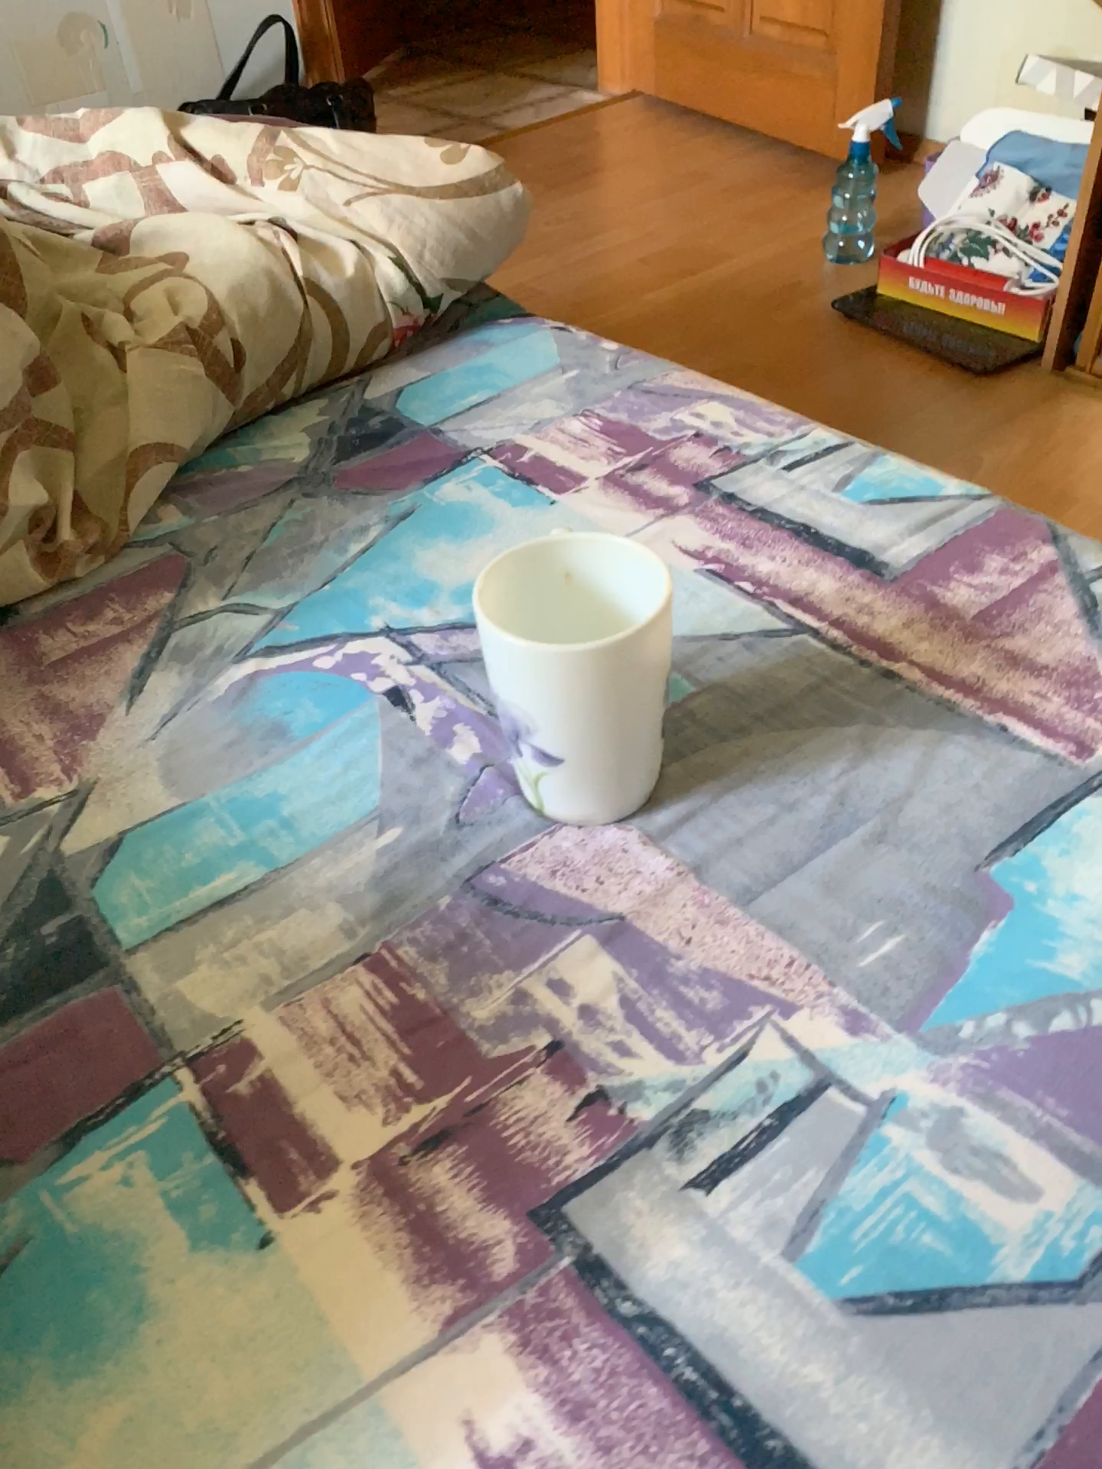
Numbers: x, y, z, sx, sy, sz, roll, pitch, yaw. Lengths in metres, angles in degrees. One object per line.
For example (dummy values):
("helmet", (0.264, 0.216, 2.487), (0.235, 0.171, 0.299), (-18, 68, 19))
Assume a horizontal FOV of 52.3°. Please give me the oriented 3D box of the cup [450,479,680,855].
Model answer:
("cup", (0.005, -0.030, 0.467), (0.080, 0.099, 0.121), (-2, 42, 0))
